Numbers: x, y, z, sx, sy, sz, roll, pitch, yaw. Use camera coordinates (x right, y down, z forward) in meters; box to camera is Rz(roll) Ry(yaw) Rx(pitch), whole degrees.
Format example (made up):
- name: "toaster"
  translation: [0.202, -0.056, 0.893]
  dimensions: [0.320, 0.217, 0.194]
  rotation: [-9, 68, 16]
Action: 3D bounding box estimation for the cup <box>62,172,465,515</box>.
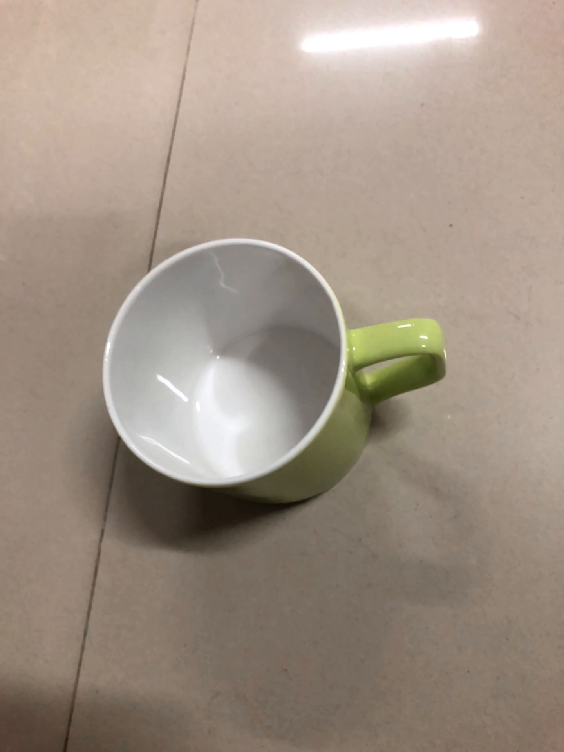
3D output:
- name: "cup"
  translation: [-0.001, 0.000, 0.199]
  dimensions: [0.100, 0.080, 0.070]
  rotation: [-9, 72, 13]
